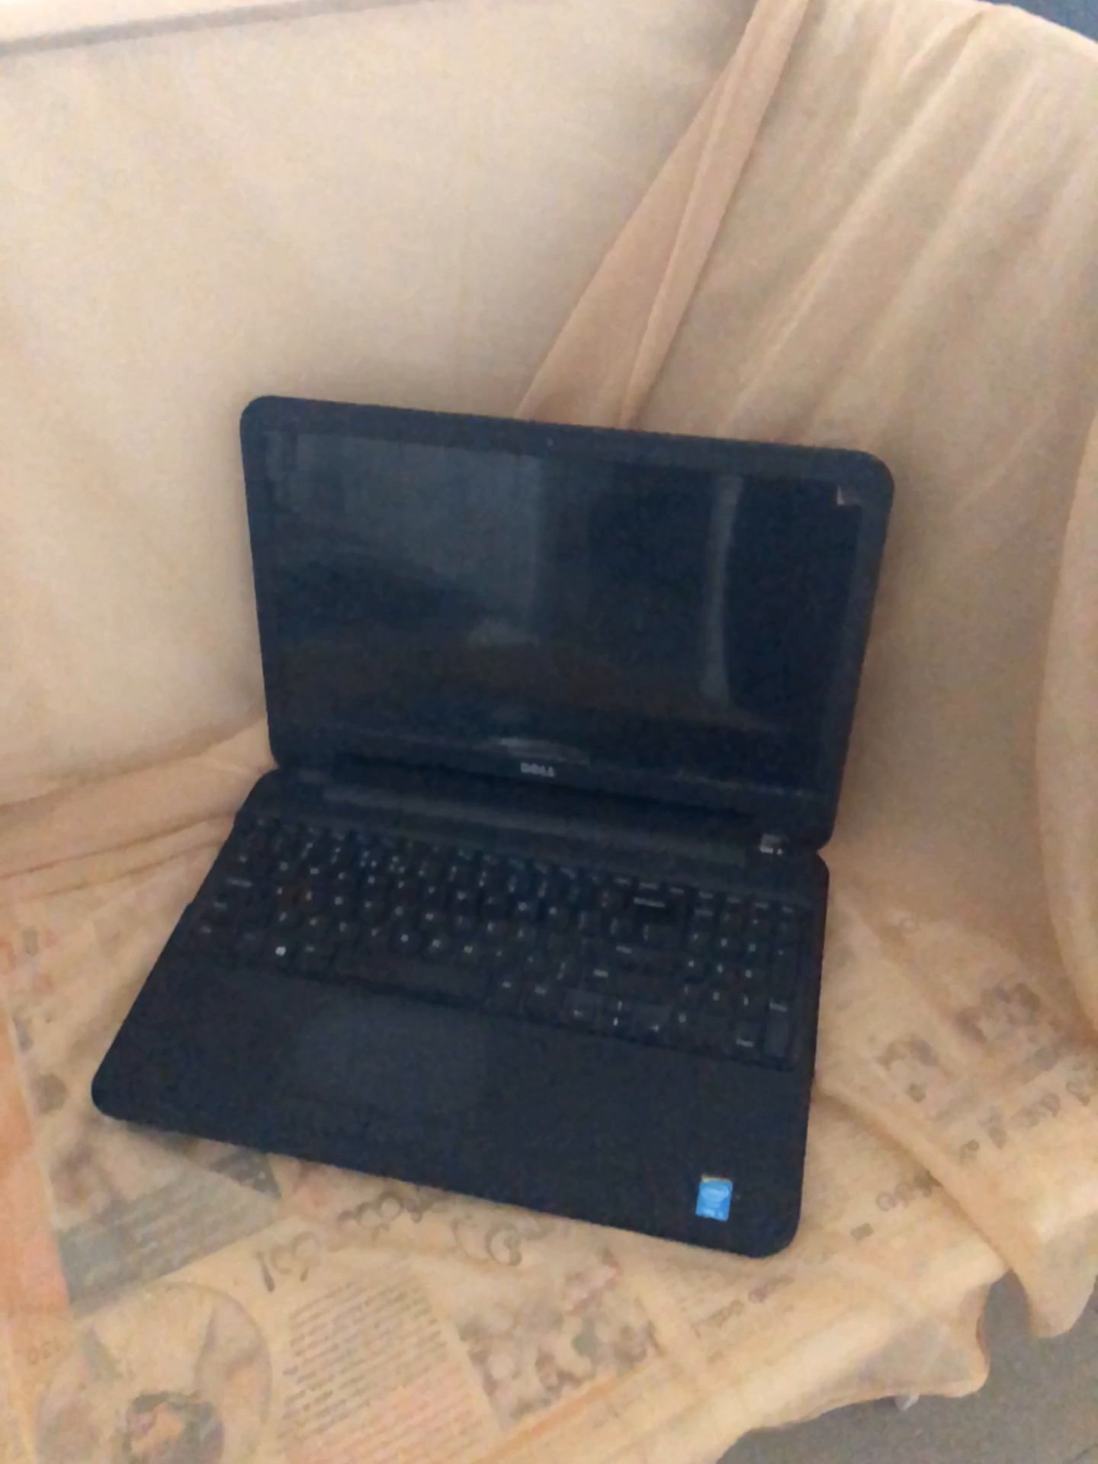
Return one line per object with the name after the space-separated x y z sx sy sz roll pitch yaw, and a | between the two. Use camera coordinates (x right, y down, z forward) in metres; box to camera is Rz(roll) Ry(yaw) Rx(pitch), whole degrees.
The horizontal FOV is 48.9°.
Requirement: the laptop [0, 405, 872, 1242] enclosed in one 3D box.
-0.032 0.025 0.632 0.348 0.225 0.307 8 44 10 | laptop
